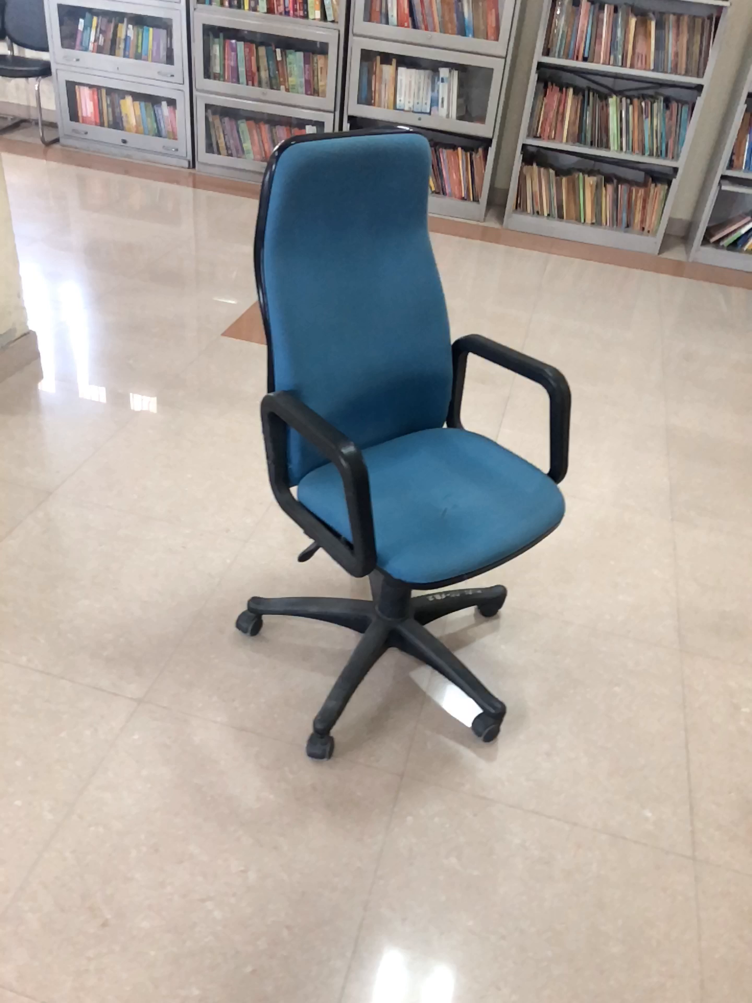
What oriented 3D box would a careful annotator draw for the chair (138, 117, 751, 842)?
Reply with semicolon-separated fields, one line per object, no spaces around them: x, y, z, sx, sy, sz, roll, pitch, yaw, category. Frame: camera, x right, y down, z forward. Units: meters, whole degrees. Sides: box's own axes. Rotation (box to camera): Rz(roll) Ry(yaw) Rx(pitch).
0.072;-0.099;1.685;0.741;1.076;0.762;-22;44;-34;chair
